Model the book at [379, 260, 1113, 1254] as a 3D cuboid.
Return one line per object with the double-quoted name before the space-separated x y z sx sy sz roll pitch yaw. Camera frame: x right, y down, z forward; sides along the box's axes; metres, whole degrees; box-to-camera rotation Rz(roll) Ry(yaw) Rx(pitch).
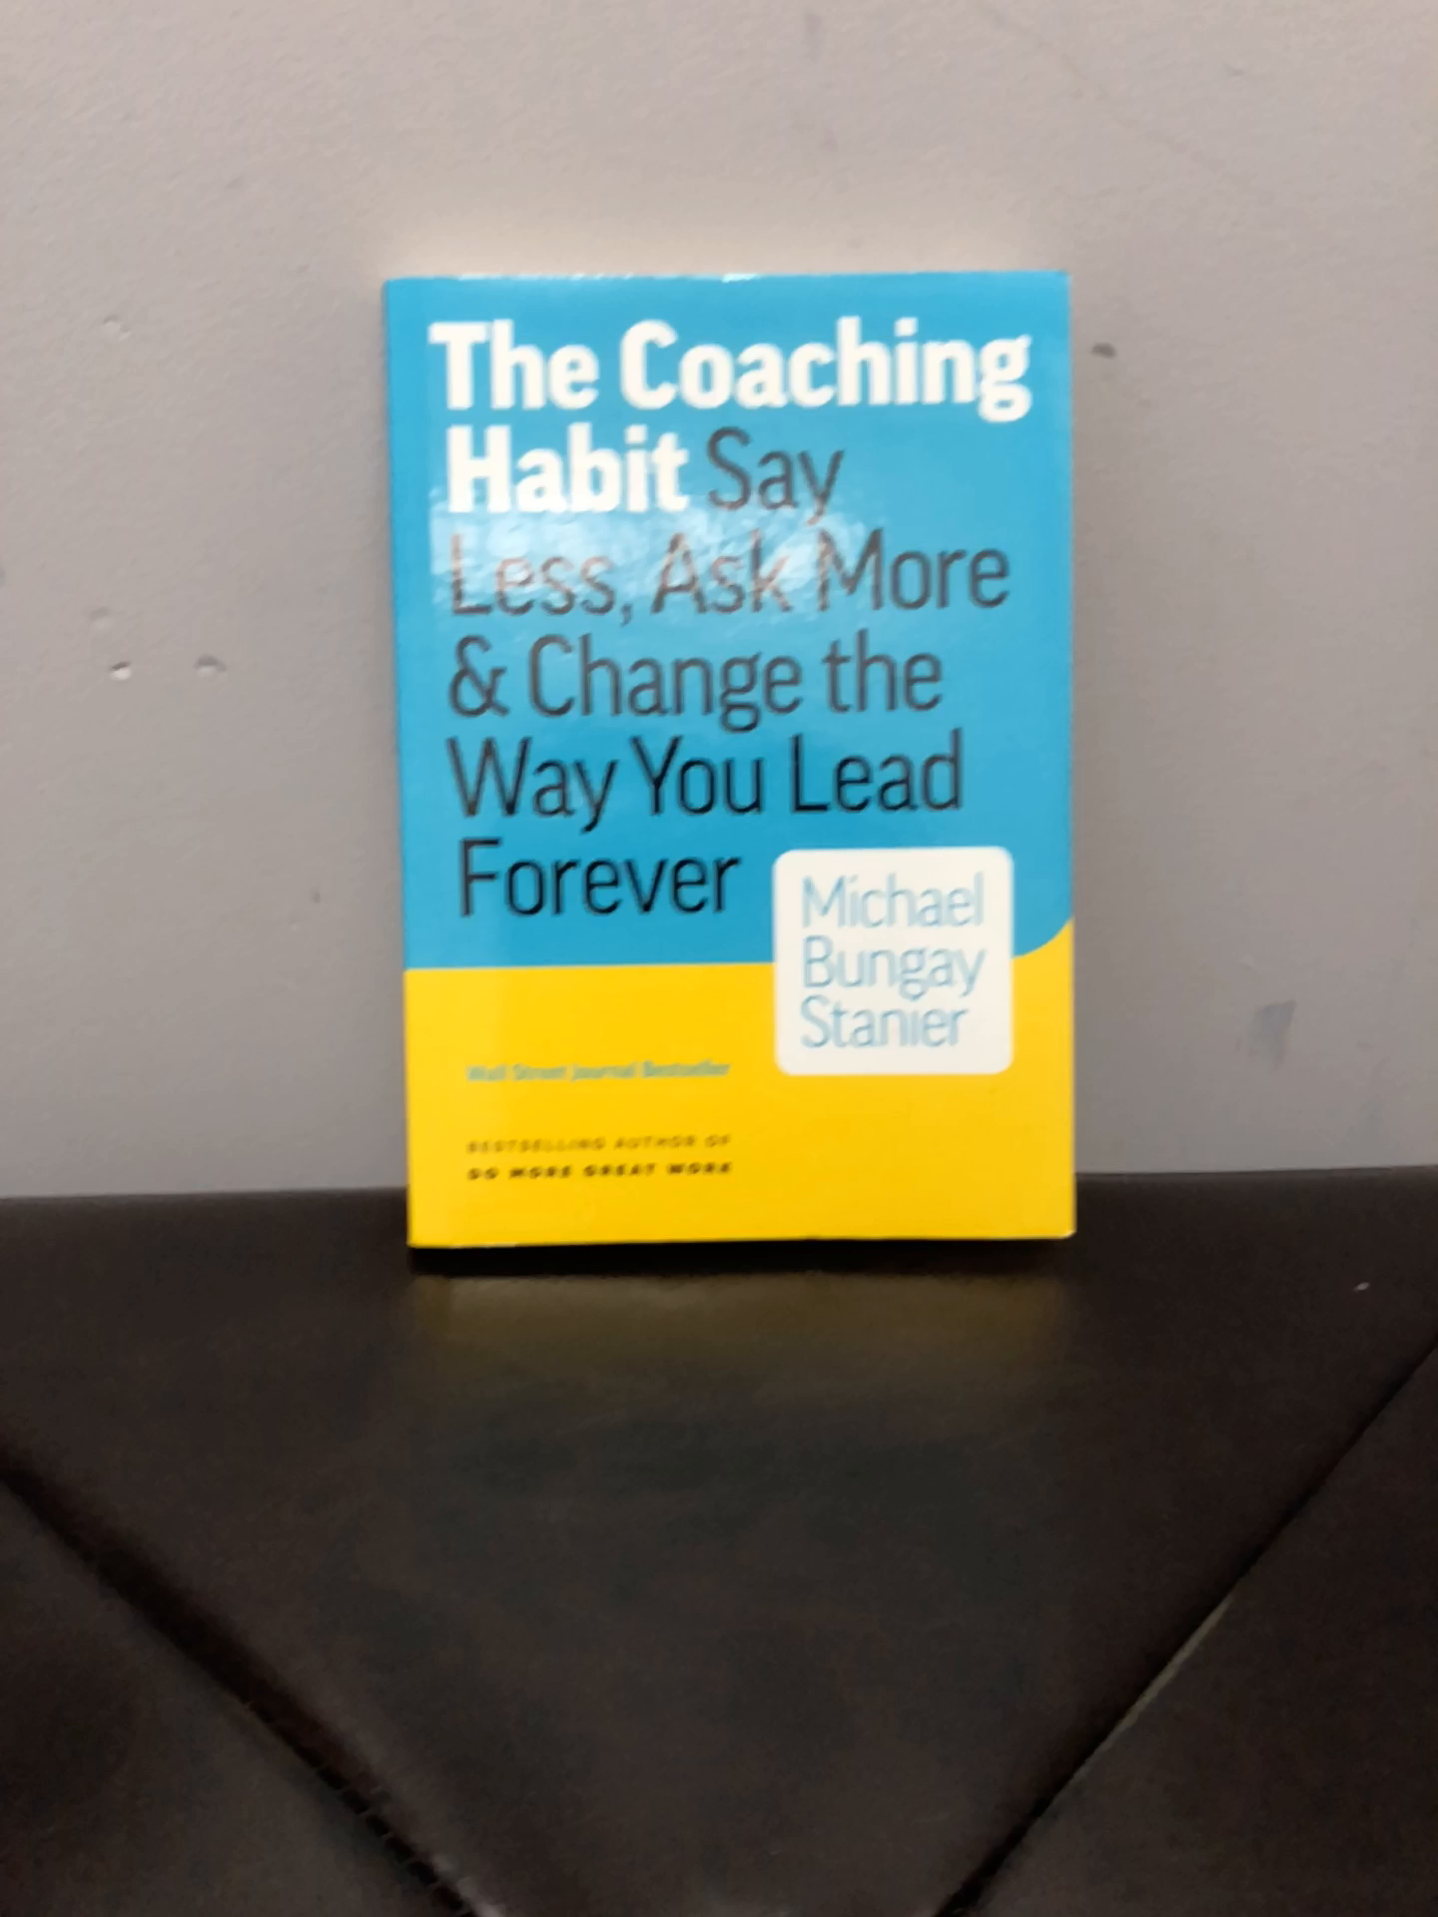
"book" 0.005 -0.039 0.335 0.145 0.196 0.030 0 2 -2
